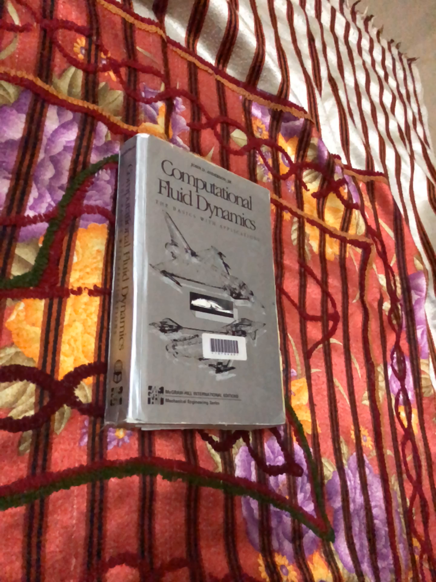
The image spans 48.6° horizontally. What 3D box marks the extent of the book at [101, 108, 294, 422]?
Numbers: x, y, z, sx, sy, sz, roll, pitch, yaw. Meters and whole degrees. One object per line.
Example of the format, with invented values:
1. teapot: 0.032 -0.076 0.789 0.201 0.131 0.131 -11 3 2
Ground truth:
1. book: -0.012 -0.011 0.440 0.161 0.060 0.250 14 69 -39
